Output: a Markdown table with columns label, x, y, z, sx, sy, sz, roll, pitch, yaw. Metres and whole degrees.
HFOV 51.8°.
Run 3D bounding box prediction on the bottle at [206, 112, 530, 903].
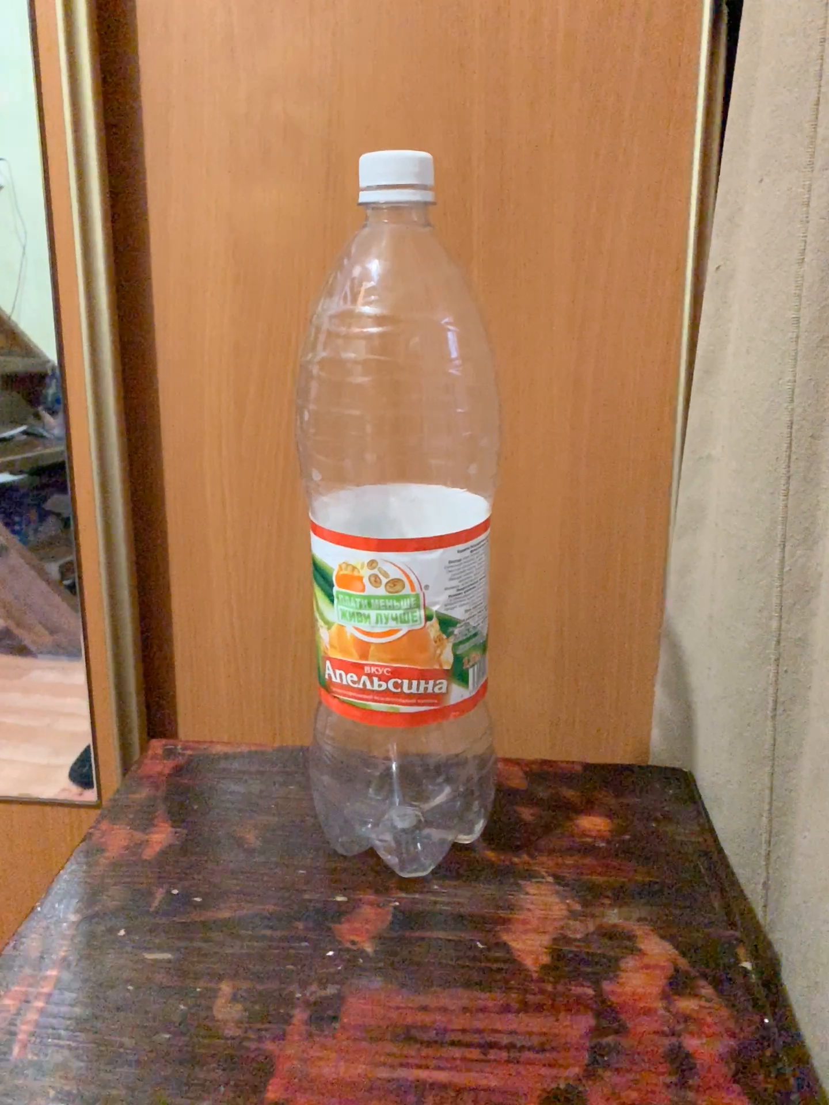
| label | x | y | z | sx | sy | sz | roll | pitch | yaw |
| --- | --- | --- | --- | --- | --- | --- | --- | --- | --- |
| bottle | -0.009 | -0.016 | 0.397 | 0.100 | 0.318 | 0.101 | -2 | 17 | 1 |
